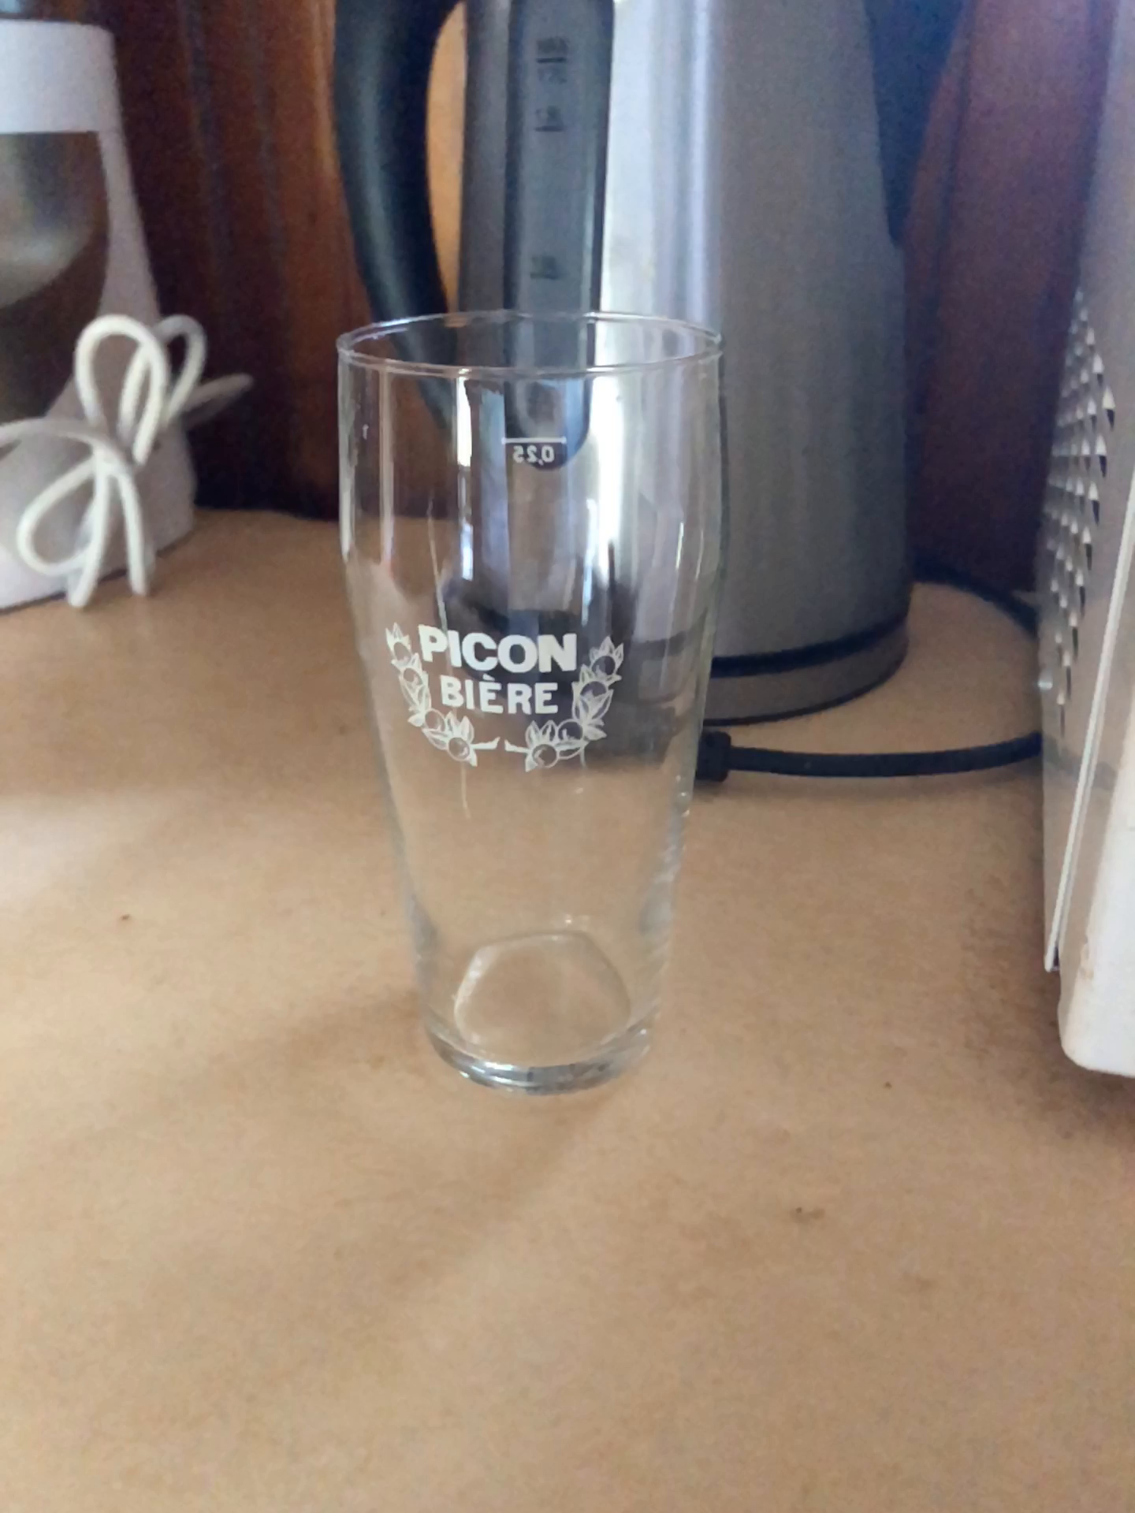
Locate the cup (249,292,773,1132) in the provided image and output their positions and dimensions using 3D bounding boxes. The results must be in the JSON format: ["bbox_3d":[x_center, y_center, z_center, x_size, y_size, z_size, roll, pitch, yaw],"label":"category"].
[{"bbox_3d":[-0.003,-0.010,0.227,0.070,0.129,0.070,-1,26,0],"label":"cup"}]
